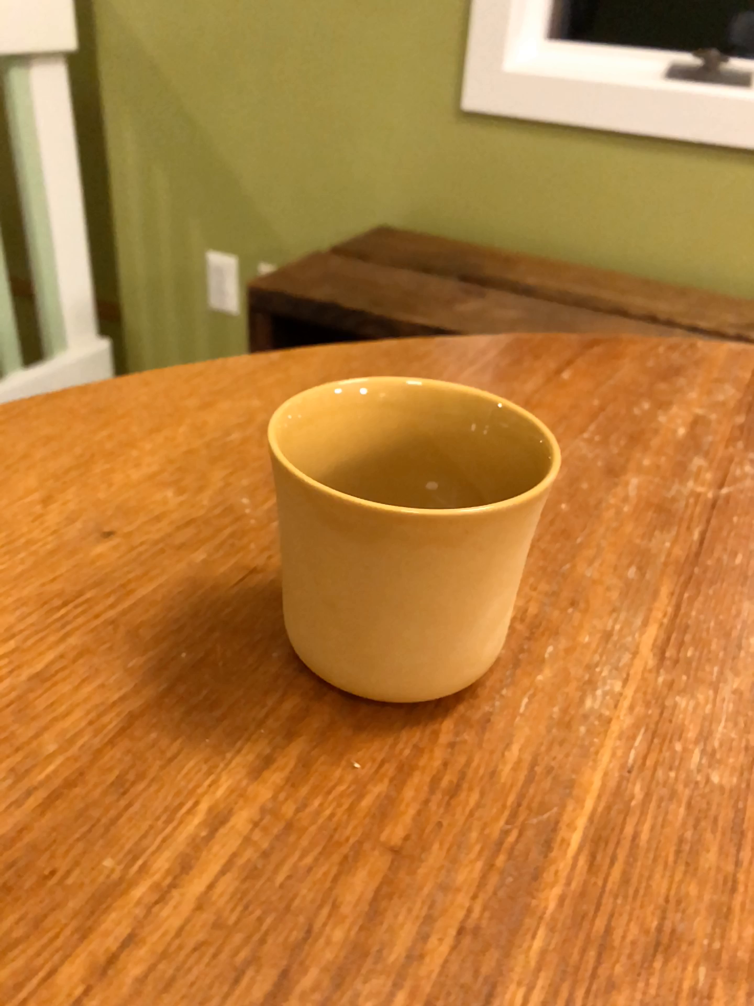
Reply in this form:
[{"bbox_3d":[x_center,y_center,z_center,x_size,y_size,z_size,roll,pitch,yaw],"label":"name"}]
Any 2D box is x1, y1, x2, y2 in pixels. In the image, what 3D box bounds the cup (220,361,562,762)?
[{"bbox_3d":[0.006,0.012,0.238,0.077,0.073,0.074,3,31,-2],"label":"cup"}]
